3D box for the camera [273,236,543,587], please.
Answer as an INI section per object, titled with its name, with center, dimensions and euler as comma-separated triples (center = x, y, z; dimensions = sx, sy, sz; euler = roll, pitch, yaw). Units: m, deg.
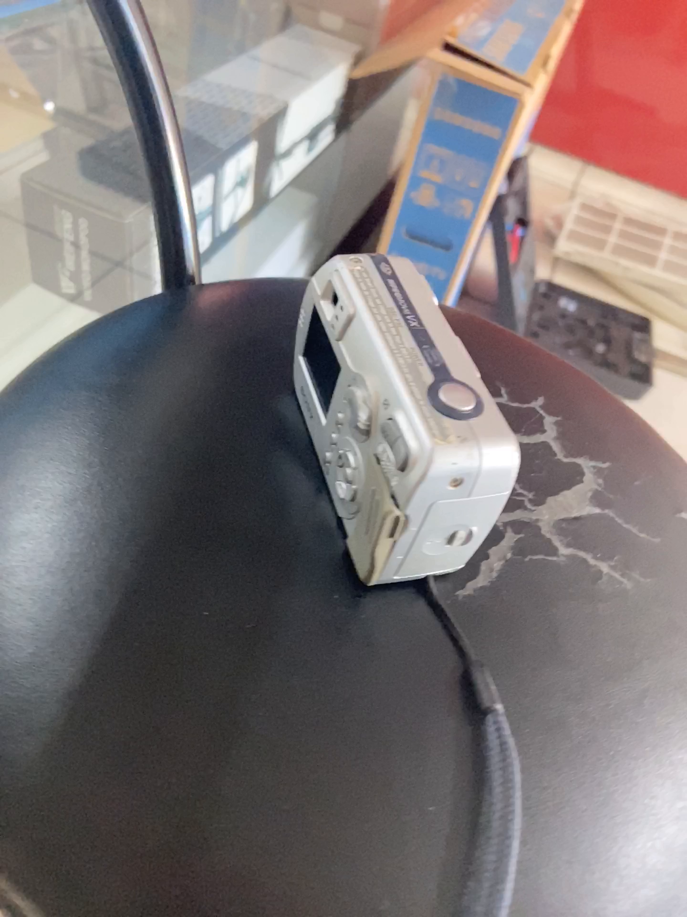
[camera]
center = 0.012, -0.019, 0.223
dimensions = 0.040, 0.050, 0.100
euler = -4, 48, -21
